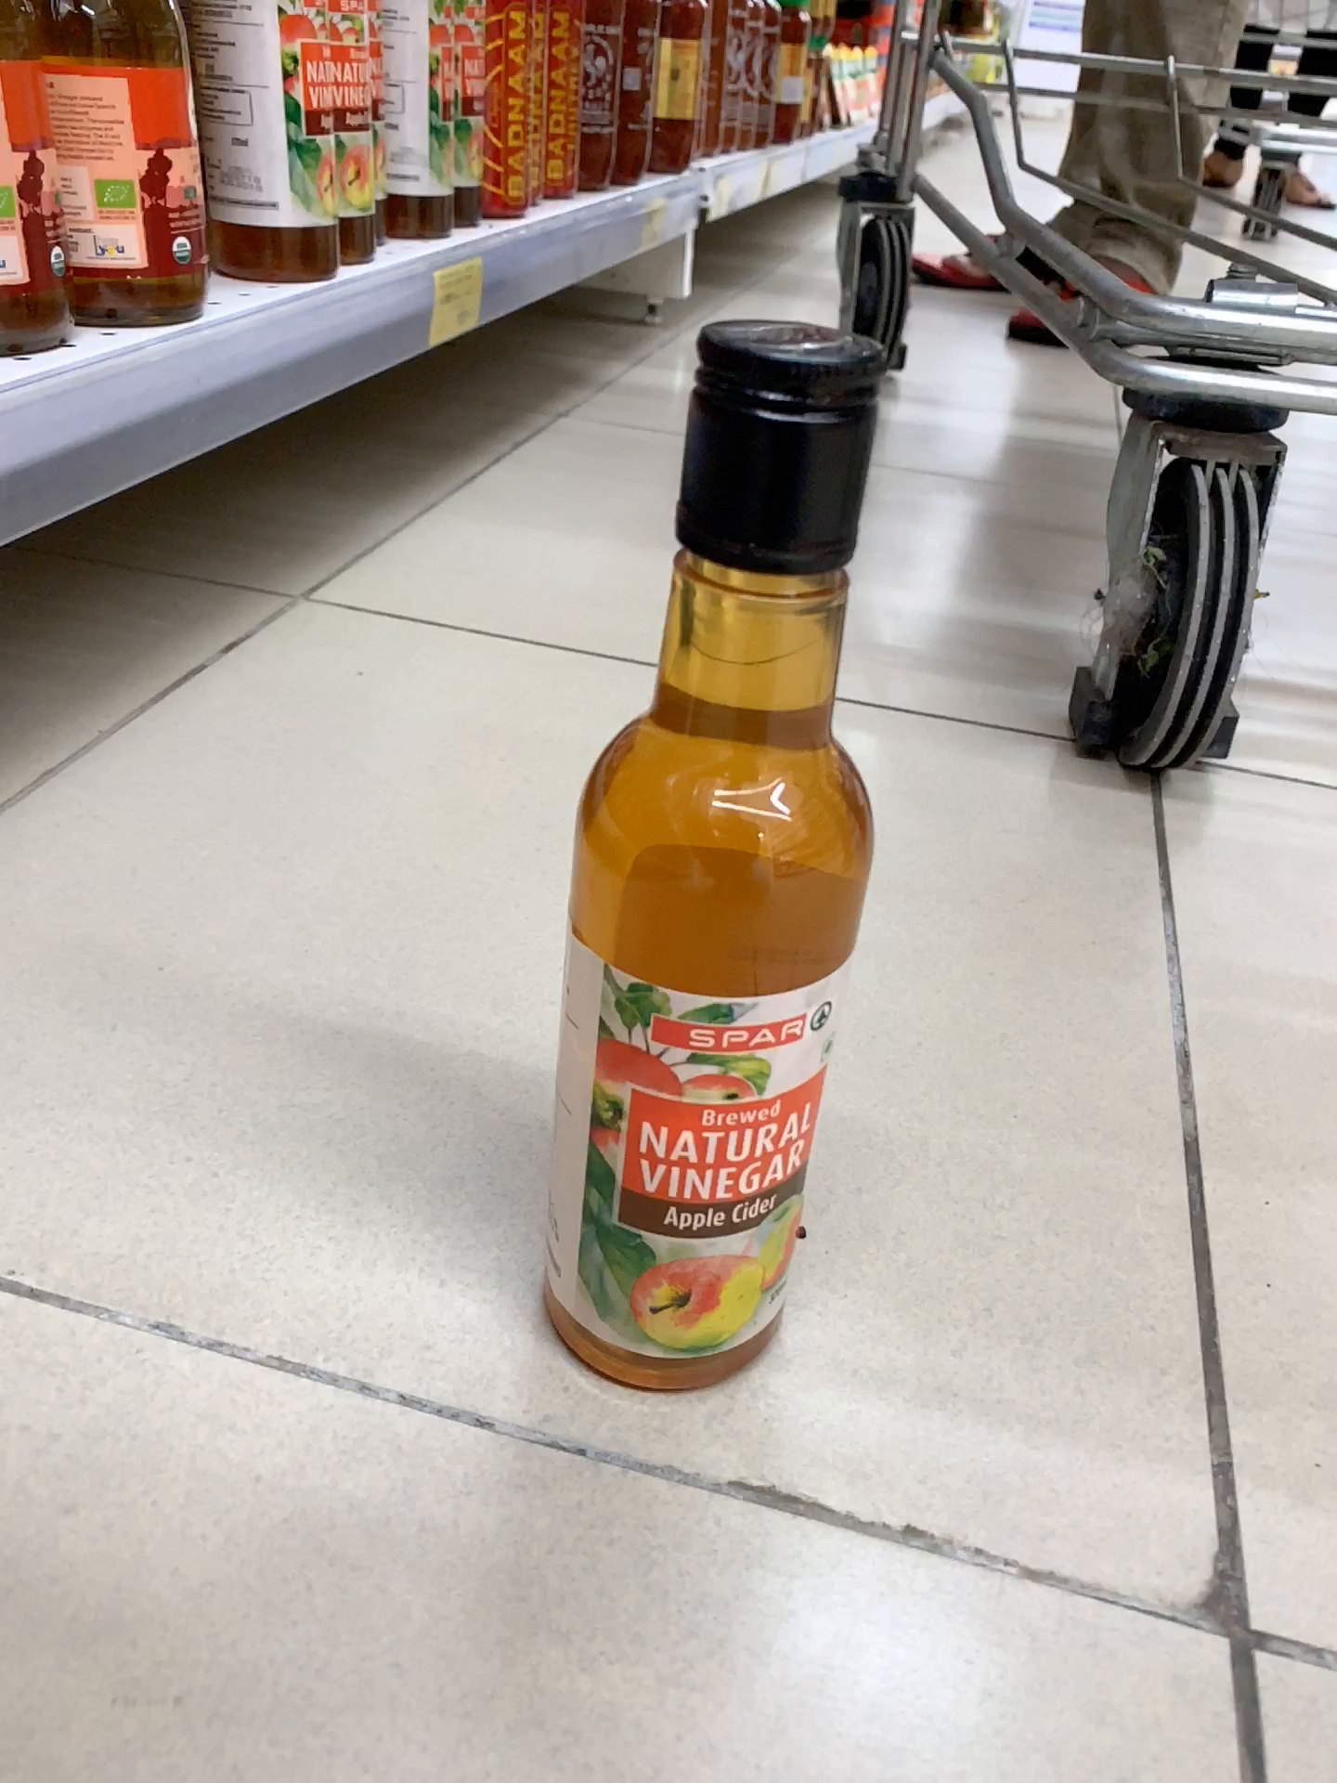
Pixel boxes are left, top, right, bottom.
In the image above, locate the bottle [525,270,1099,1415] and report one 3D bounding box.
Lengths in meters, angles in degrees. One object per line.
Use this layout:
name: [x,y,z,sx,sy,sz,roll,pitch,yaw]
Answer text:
bottle: [0.012,0.004,0.271,0.070,0.219,0.060,-1,32,-10]
